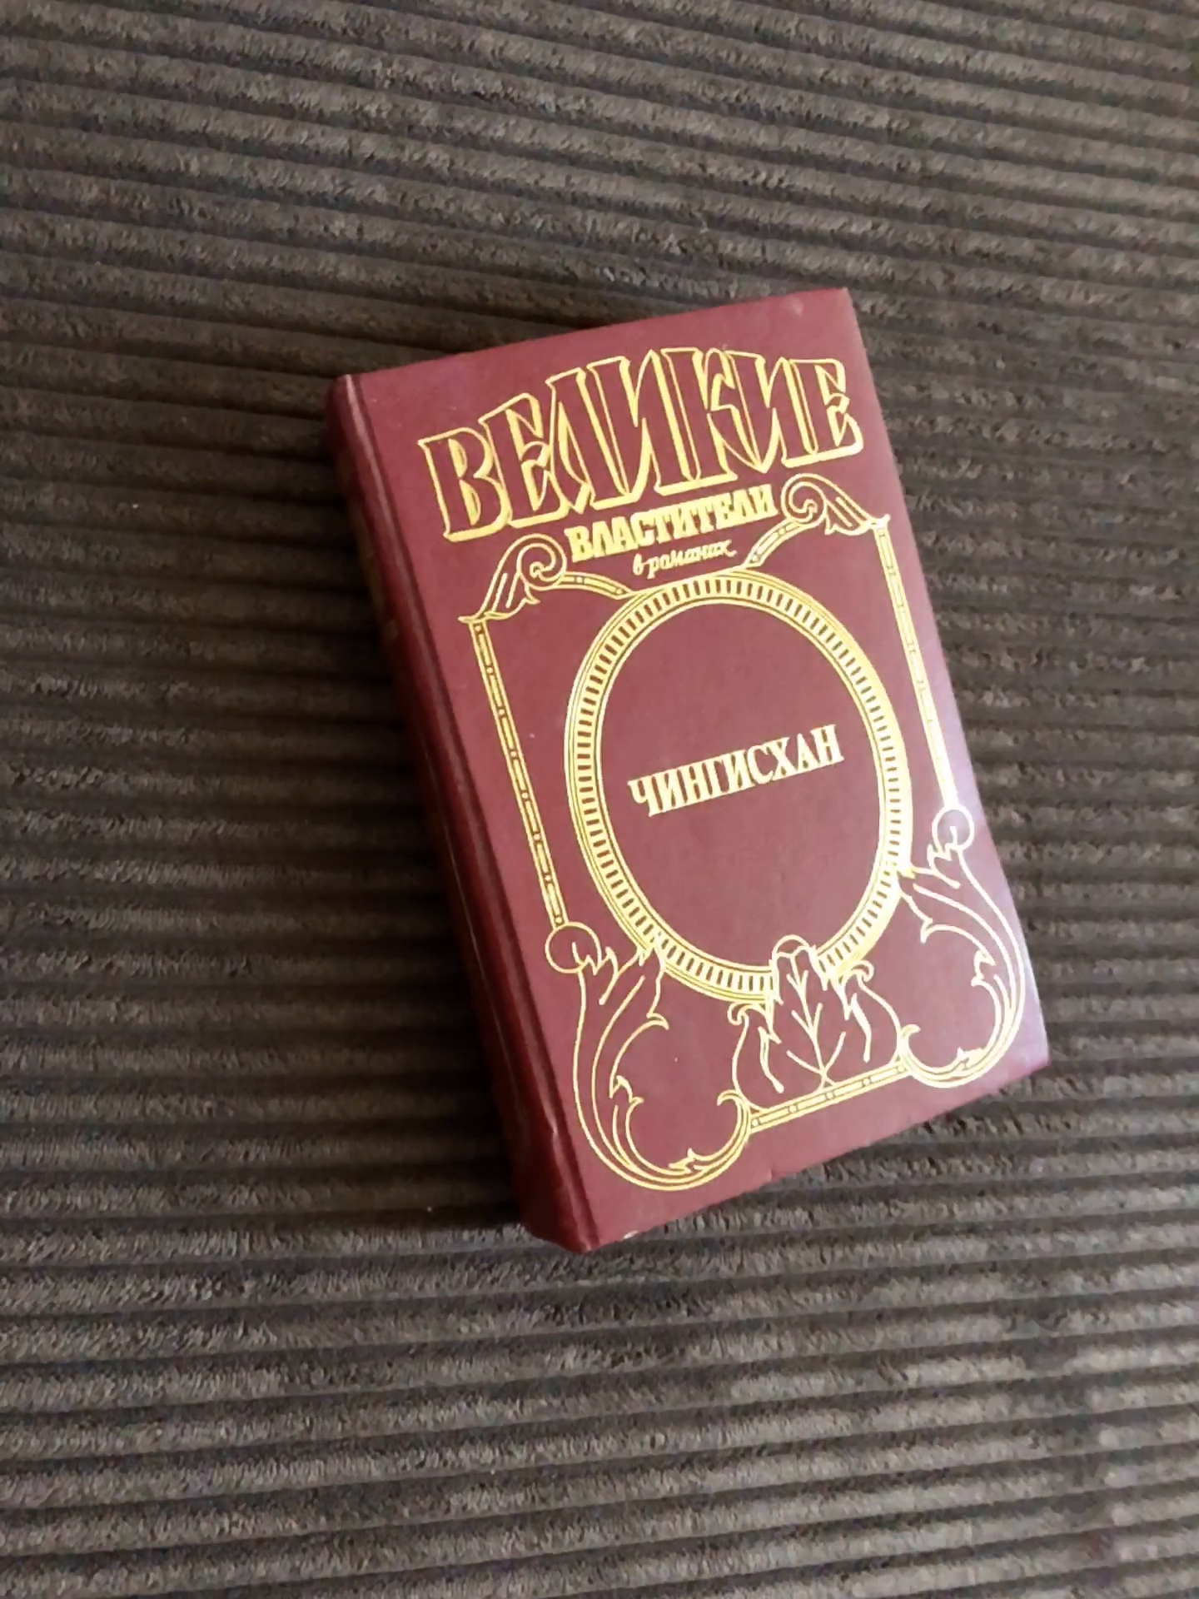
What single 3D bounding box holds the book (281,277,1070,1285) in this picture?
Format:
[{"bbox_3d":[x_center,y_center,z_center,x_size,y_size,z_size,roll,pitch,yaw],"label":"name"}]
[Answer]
[{"bbox_3d":[0.018,-0.009,0.327,0.137,0.050,0.202,-16,91,-16],"label":"book"}]
